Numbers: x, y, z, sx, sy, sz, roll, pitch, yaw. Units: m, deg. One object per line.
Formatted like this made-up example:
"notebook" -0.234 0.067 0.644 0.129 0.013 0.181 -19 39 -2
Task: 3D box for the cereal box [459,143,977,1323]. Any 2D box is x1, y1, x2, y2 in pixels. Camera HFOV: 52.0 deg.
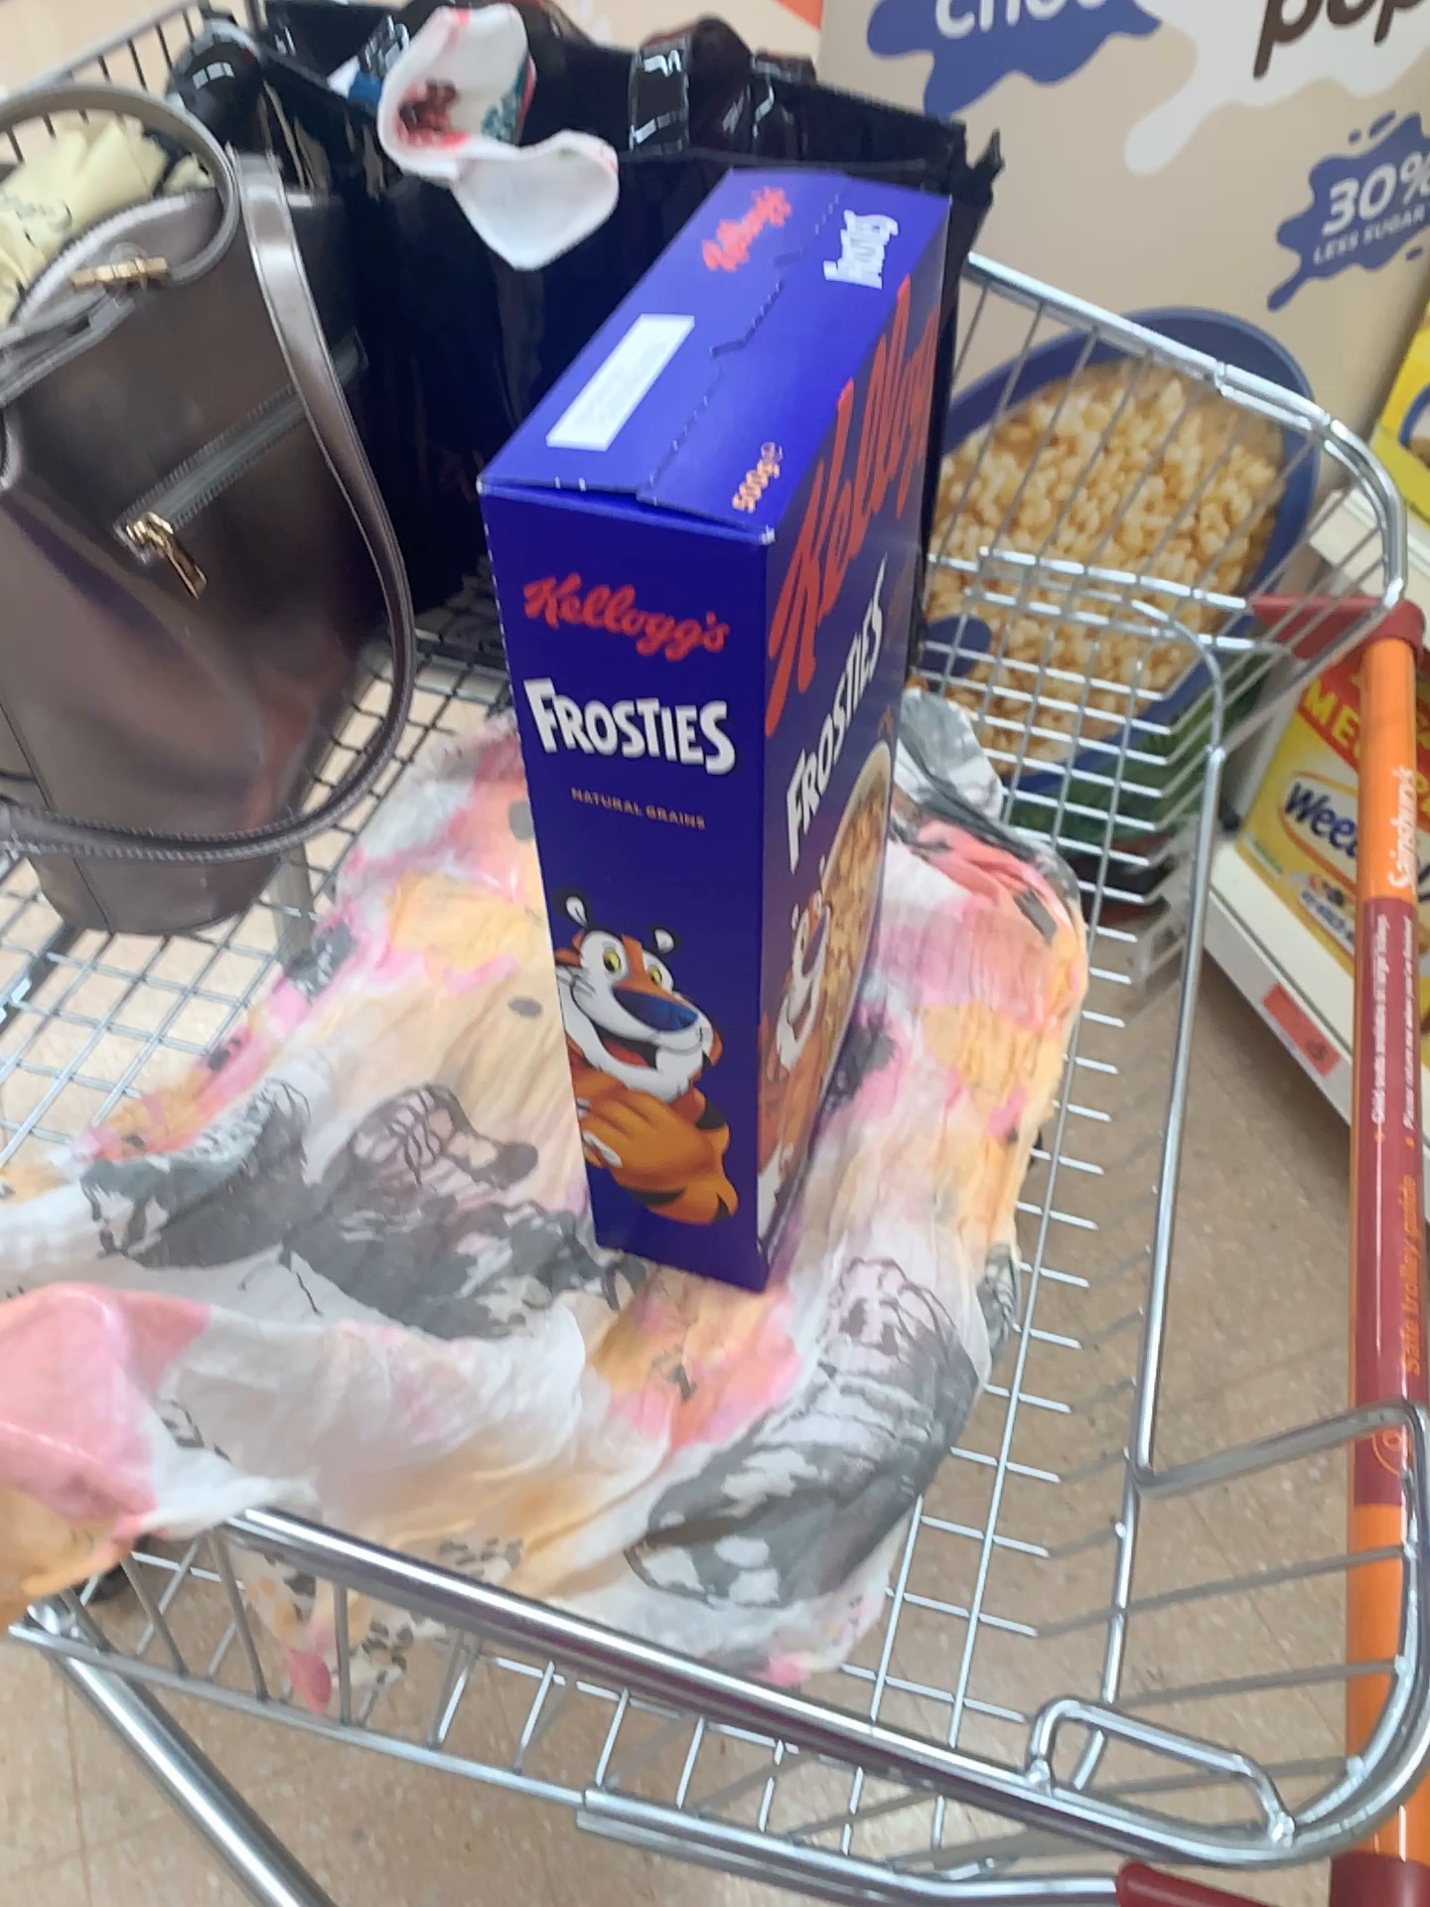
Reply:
"cereal box" 0.017 -0.060 0.508 0.080 0.337 0.212 11 47 13
